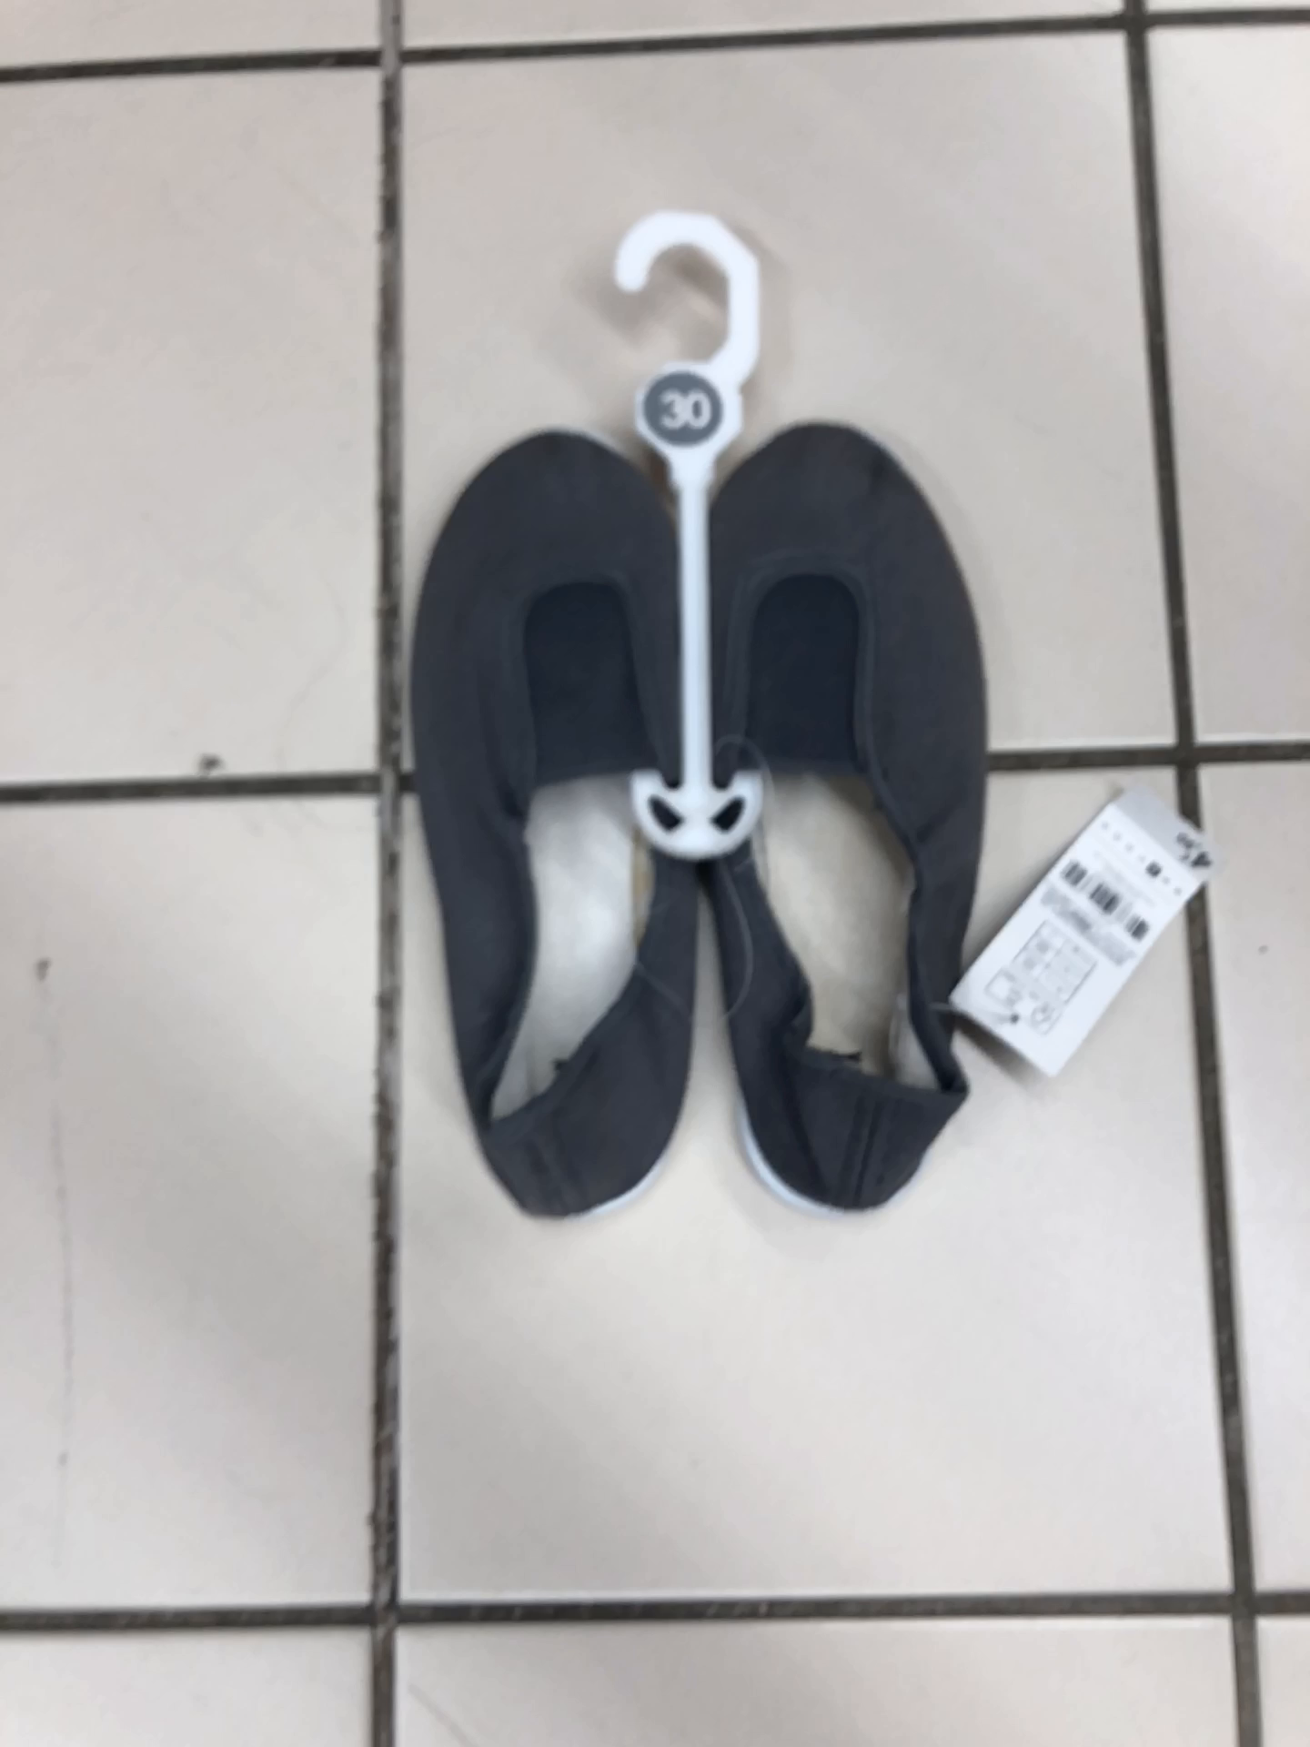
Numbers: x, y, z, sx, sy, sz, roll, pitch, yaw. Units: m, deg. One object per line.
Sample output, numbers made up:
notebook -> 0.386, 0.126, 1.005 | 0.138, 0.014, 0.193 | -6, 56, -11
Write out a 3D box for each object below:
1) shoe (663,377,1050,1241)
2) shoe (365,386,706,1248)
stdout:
shoe -> 0.042, -0.014, 0.335 | 0.077, 0.046, 0.185 | -1, 82, 2
shoe -> -0.026, -0.012, 0.337 | 0.070, 0.046, 0.185 | -1, 82, 2
